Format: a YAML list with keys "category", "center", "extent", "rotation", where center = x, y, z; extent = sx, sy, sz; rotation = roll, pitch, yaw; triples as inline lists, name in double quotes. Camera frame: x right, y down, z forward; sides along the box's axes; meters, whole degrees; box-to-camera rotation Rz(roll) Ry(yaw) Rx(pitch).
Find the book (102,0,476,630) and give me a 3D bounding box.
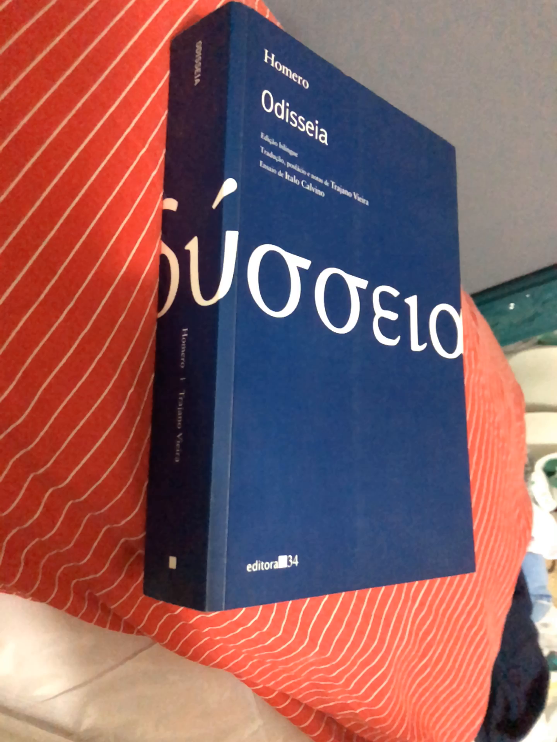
- category: "book"
  center: [0.018, -0.024, 0.275]
  extent: [0.171, 0.040, 0.230]
  rotation: [9, 77, -40]
